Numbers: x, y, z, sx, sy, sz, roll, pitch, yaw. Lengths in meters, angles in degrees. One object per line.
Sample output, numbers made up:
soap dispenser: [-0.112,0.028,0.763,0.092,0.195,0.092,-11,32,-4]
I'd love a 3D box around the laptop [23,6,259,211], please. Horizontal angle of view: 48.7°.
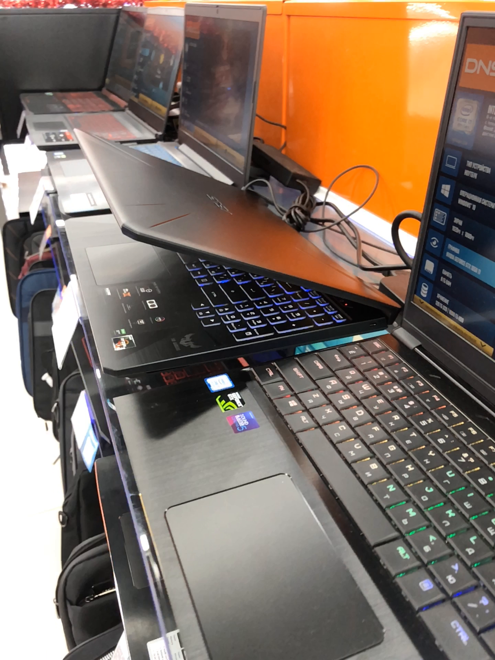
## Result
laptop: [-0.178,-0.377,0.868,0.283,0.235,0.358,-12,32,-19]

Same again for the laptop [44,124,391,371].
laptop: [-0.061,-0.120,0.570,0.239,0.106,0.348,-12,33,-19]
